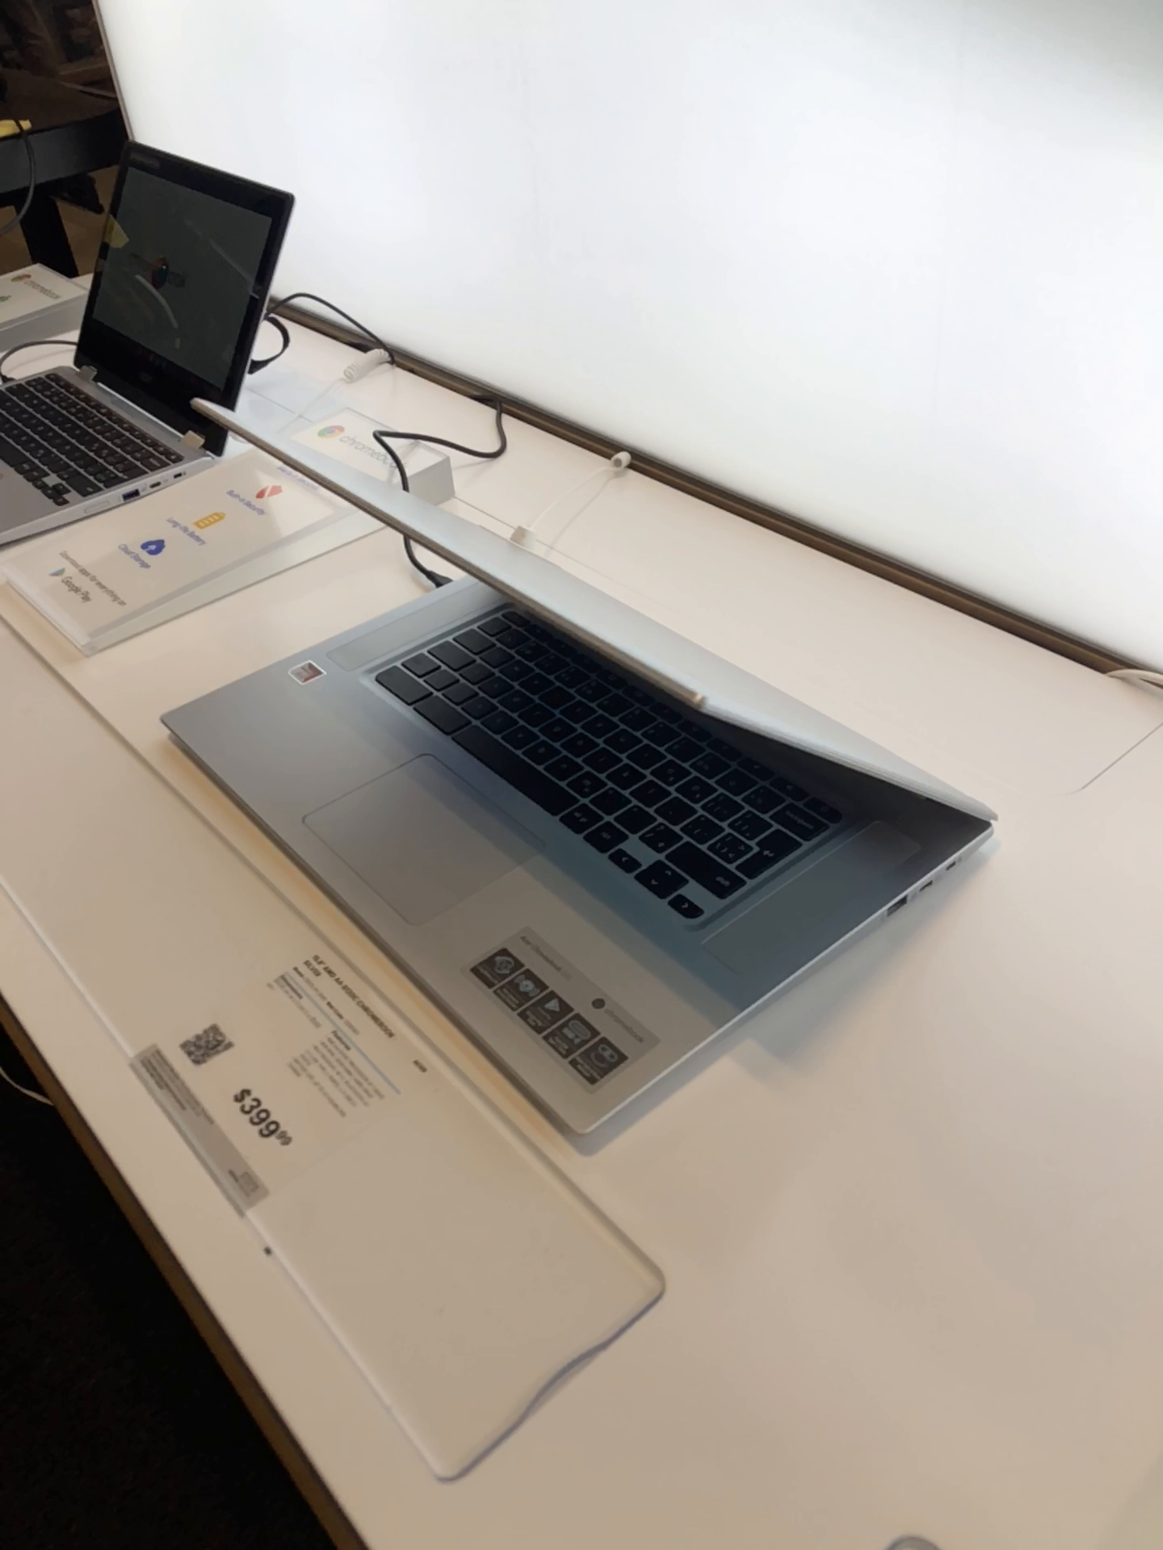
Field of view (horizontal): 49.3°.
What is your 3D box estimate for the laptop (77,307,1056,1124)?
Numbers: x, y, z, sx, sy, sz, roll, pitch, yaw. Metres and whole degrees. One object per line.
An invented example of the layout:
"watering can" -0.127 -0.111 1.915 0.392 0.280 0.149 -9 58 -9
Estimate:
"laptop" -0.023 -0.069 0.603 0.255 0.166 0.369 -29 44 -28
